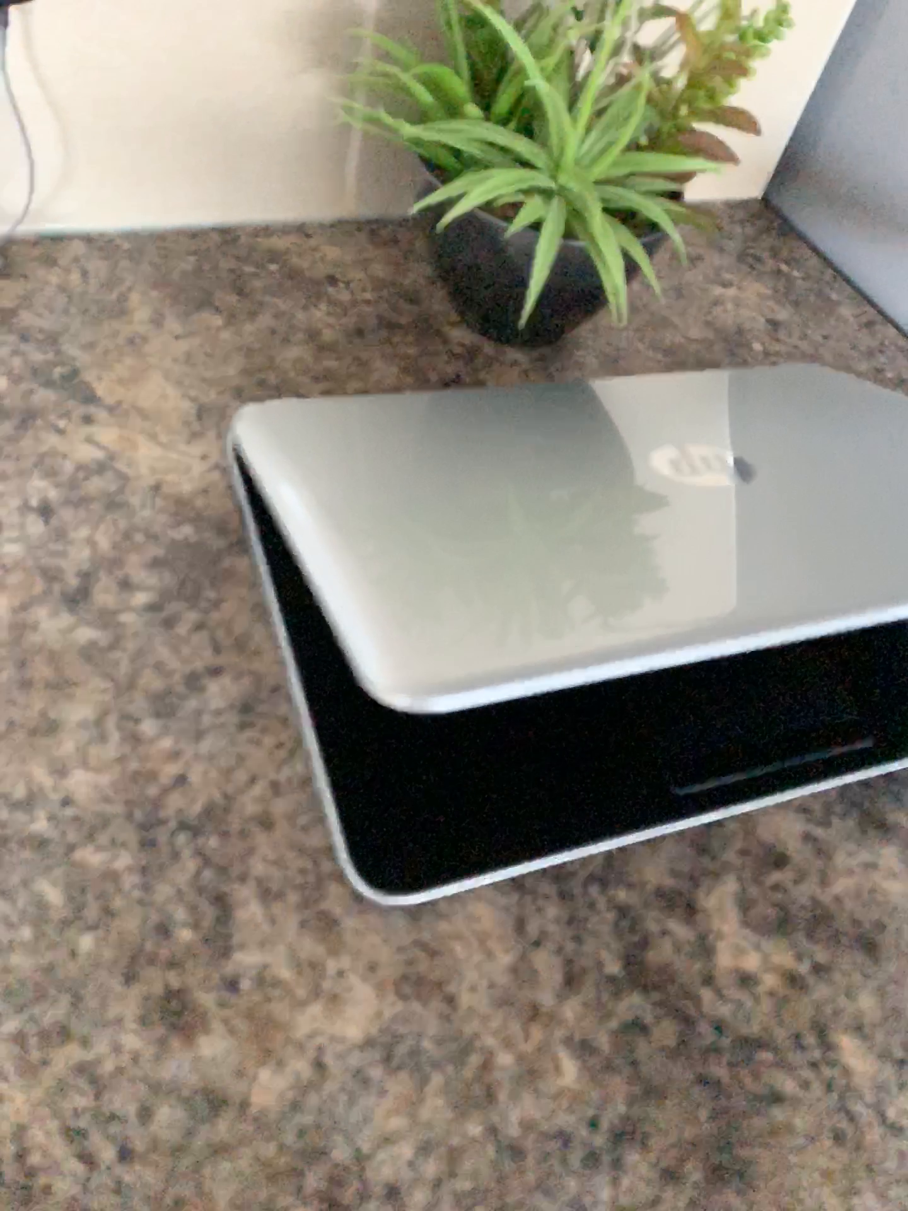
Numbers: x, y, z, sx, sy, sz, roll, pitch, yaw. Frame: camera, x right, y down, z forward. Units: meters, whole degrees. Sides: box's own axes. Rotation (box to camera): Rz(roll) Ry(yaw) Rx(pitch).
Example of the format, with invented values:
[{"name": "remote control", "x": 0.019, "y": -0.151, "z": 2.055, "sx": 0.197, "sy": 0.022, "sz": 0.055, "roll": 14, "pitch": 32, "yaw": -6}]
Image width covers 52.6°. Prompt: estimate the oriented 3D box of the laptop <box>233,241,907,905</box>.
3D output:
[{"name": "laptop", "x": 0.098, "y": -0.042, "z": 0.365, "sx": 0.329, "sy": 0.081, "sz": 0.207, "roll": -10, "pitch": 57, "yaw": -21}]
